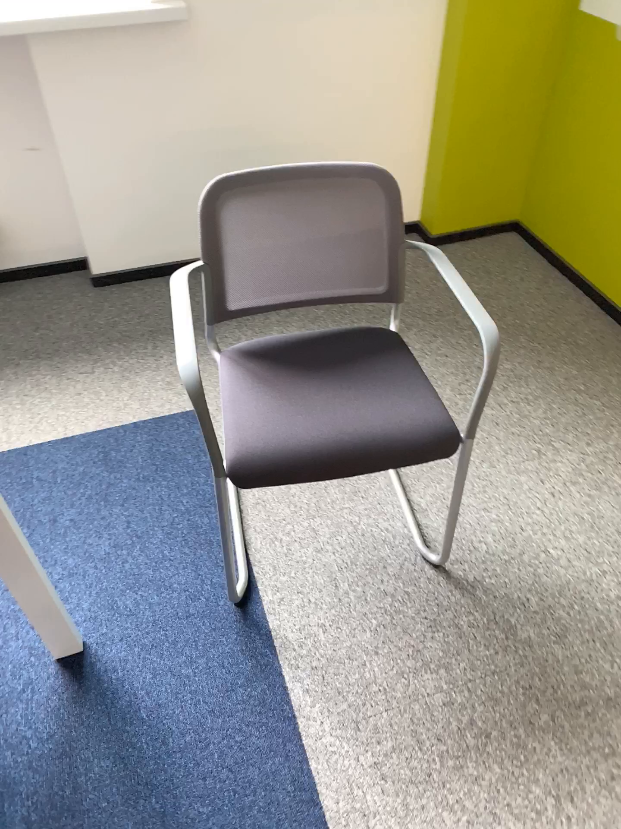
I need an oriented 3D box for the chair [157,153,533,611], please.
[{"bbox_3d":[0.013,-0.056,1.309,0.530,0.726,0.523,-7,44,-7],"label":"chair"}]
